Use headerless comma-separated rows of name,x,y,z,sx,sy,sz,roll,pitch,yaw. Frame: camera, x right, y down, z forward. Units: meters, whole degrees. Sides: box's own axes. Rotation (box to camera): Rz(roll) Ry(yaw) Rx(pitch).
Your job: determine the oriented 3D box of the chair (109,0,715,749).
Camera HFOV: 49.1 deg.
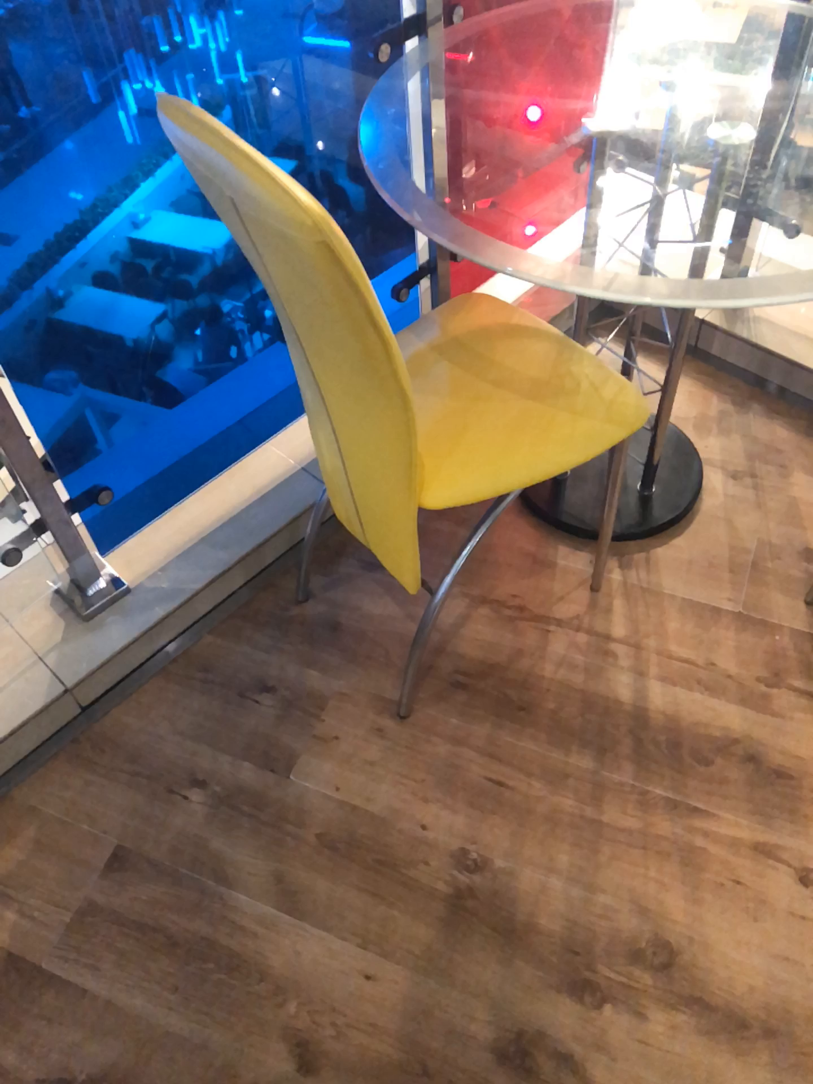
chair,0.024,-0.197,1.300,0.491,0.897,0.431,-32,55,-20
